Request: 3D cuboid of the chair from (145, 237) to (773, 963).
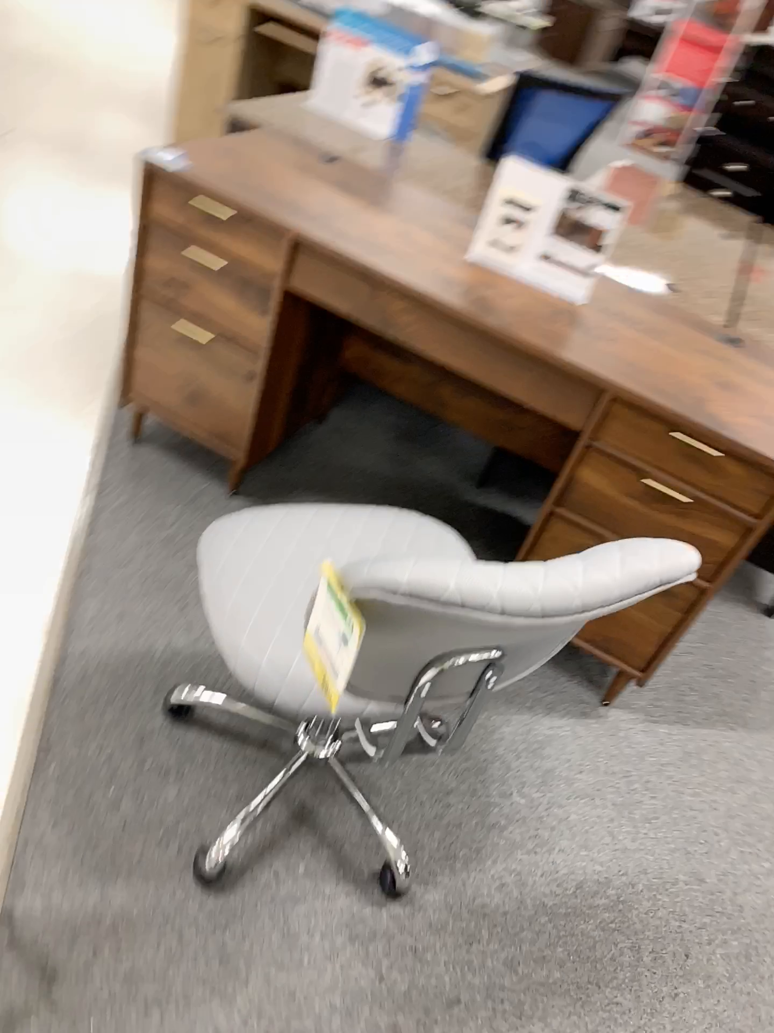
[{"bbox_3d":[-0.011,0.156,1.282,0.631,0.875,0.642,2,42,-22],"label":"chair"}]
